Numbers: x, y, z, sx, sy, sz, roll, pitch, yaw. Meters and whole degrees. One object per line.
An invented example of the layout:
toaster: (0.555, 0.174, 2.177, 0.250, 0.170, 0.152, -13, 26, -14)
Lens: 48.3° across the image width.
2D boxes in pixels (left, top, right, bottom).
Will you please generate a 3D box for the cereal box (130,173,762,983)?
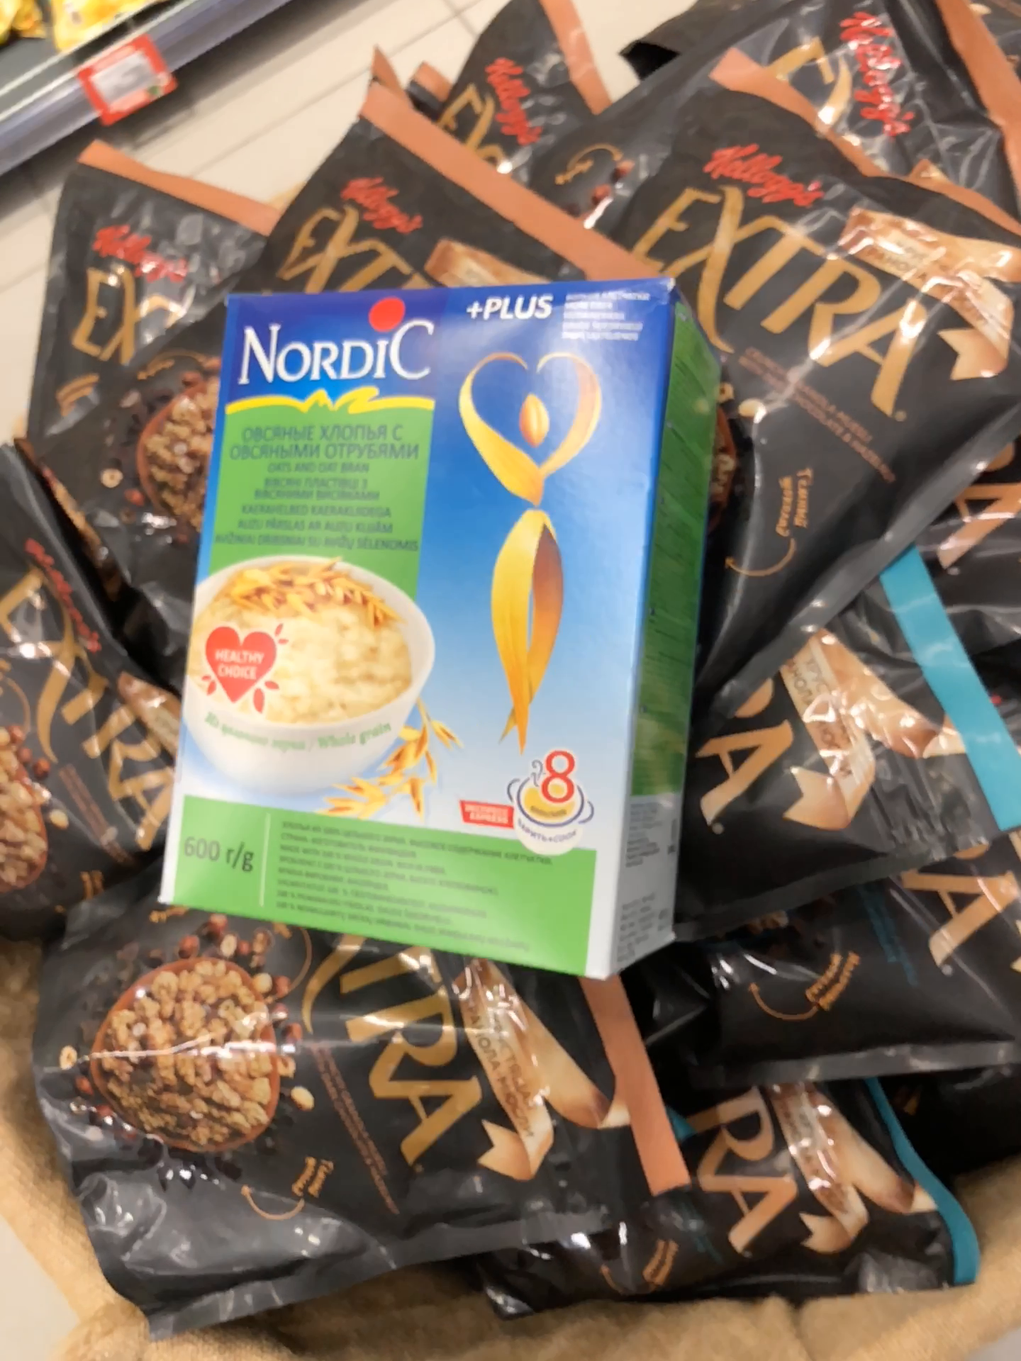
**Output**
cereal box: (-0.017, -0.031, 0.359, 0.160, 0.080, 0.210, 5, 87, 21)
